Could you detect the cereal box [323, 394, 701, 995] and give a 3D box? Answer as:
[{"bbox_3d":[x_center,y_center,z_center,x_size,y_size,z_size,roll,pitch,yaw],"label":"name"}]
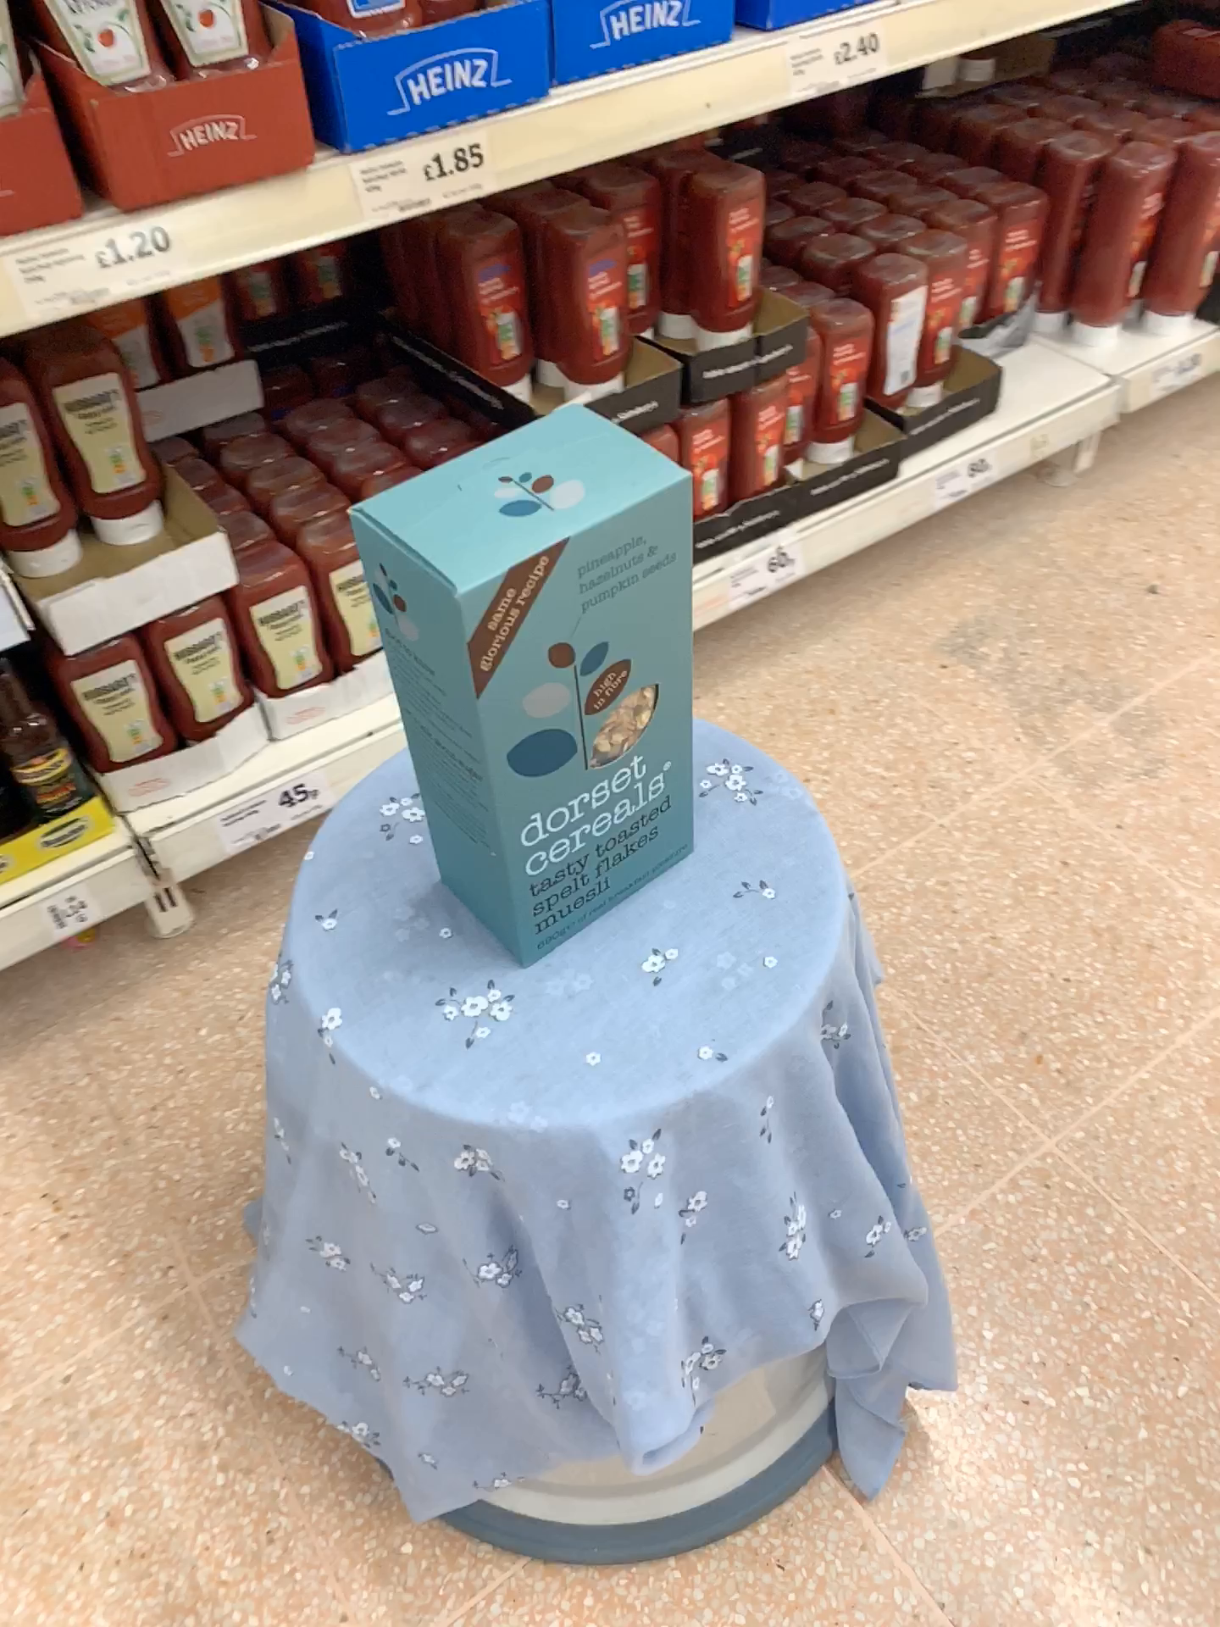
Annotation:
[{"bbox_3d":[-0.033,-0.047,0.578,0.120,0.238,0.091,-33,52,-26],"label":"cereal box"}]
